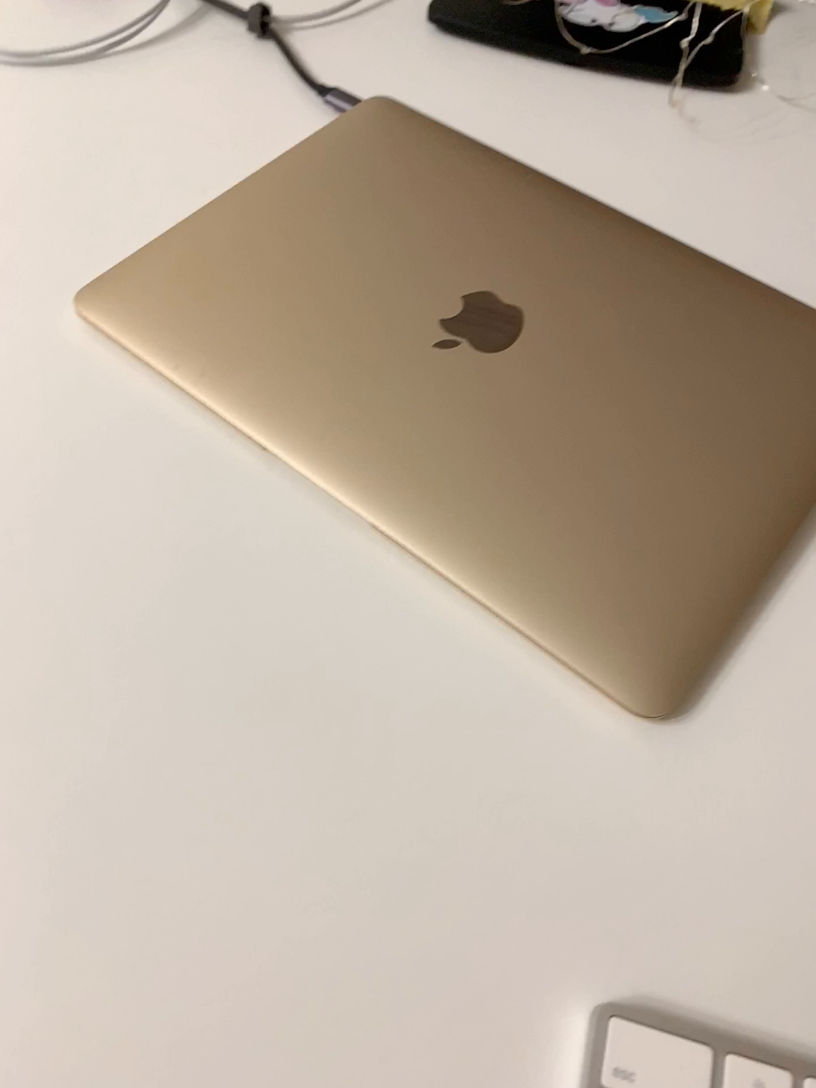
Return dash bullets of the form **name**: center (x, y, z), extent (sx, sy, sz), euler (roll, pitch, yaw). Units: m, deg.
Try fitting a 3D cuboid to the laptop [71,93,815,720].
- **laptop**: center (0.022, -0.078, 0.328), extent (0.255, 0.013, 0.173), euler (35, 66, 18)
